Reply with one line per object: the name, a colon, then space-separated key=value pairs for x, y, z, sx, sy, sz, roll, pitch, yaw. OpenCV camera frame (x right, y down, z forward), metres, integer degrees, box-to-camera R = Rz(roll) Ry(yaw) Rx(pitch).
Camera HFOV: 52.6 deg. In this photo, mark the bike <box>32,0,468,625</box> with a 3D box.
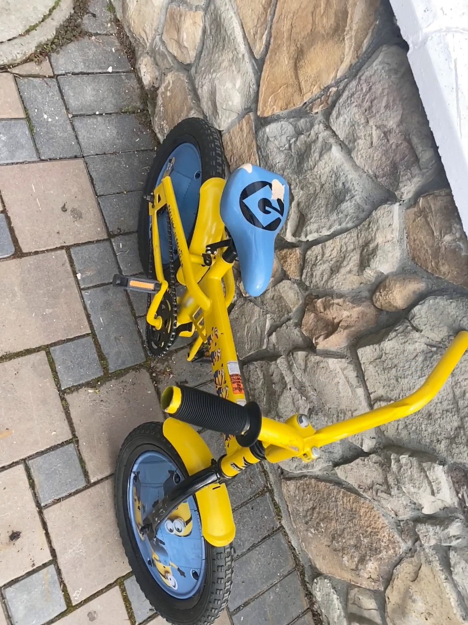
bike: x=0.022 y=0.050 z=0.888 sx=0.620 sy=0.737 sz=1.086 roll=4 pitch=74 yaw=-30
